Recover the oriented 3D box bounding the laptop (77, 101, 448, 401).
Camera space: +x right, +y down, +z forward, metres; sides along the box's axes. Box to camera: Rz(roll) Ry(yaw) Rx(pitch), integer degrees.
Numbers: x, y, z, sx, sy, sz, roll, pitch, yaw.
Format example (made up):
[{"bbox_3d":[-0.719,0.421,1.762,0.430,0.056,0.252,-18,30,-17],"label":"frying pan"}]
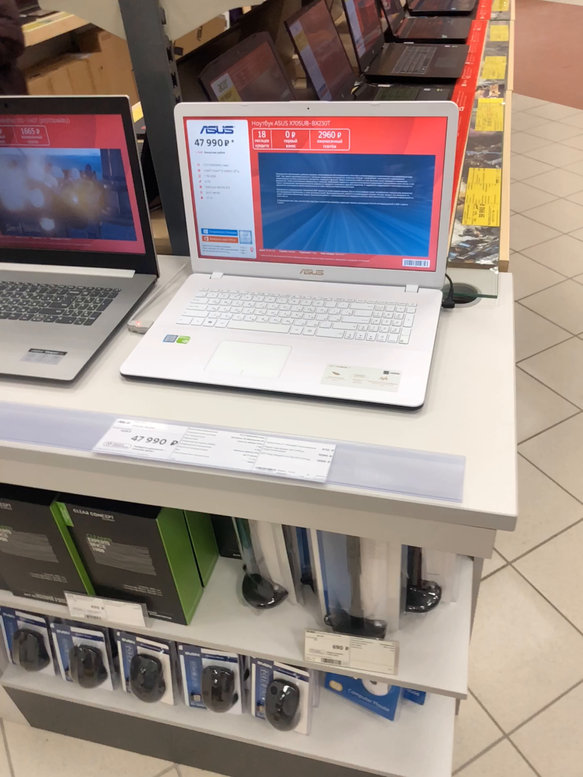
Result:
[{"bbox_3d":[-0.008,-0.196,0.829,0.386,0.235,0.302,5,41,14],"label":"laptop"}]
